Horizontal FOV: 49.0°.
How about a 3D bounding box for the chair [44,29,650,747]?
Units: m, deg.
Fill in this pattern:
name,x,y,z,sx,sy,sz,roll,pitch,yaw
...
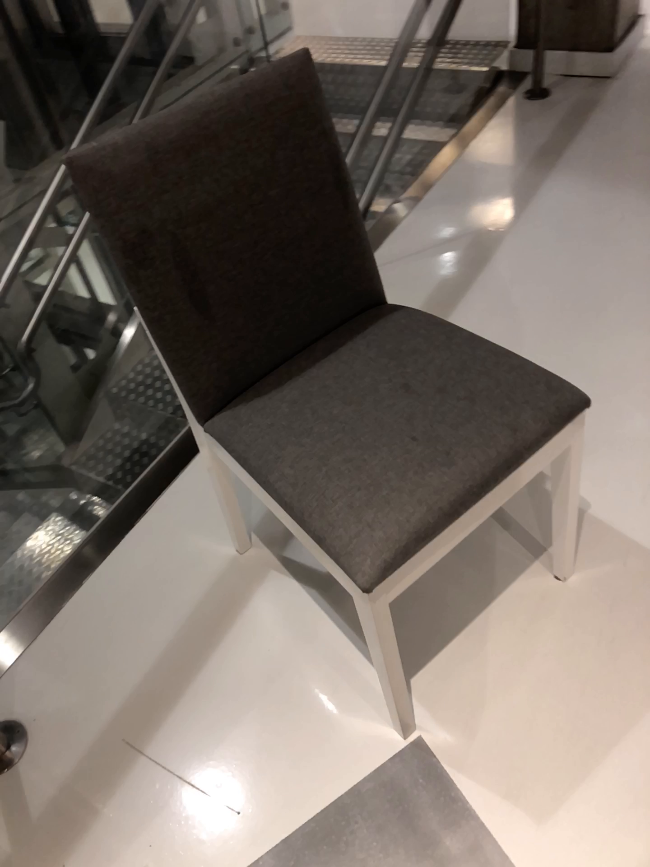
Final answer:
name,x,y,z,sx,sy,sz,roll,pitch,yaw
chair,0.069,-0.051,1.114,0.481,0.844,0.563,-35,49,-21
